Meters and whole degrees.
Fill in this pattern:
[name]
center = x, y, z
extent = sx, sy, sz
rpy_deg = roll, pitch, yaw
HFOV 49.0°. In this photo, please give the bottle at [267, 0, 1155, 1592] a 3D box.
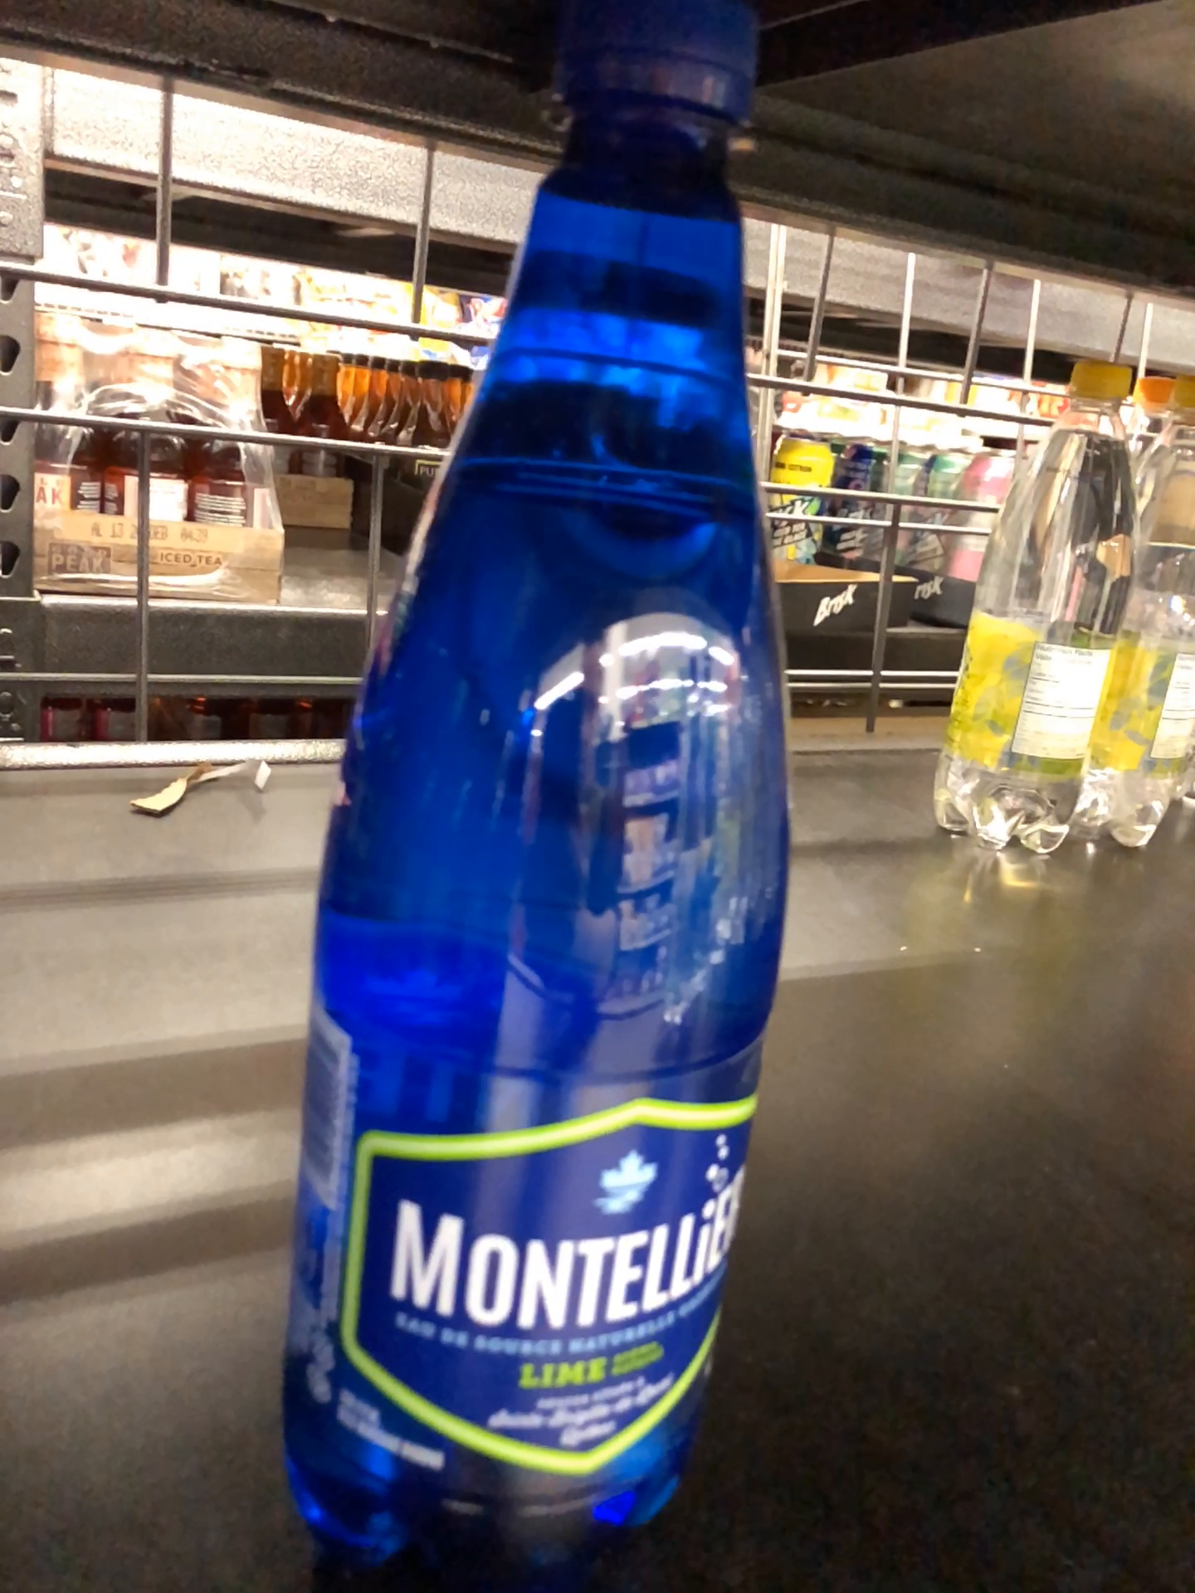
[bottle]
center = 0.003, 0.006, 0.256
extent = 0.100, 0.288, 0.090
rpy_deg = -1, 18, -26
